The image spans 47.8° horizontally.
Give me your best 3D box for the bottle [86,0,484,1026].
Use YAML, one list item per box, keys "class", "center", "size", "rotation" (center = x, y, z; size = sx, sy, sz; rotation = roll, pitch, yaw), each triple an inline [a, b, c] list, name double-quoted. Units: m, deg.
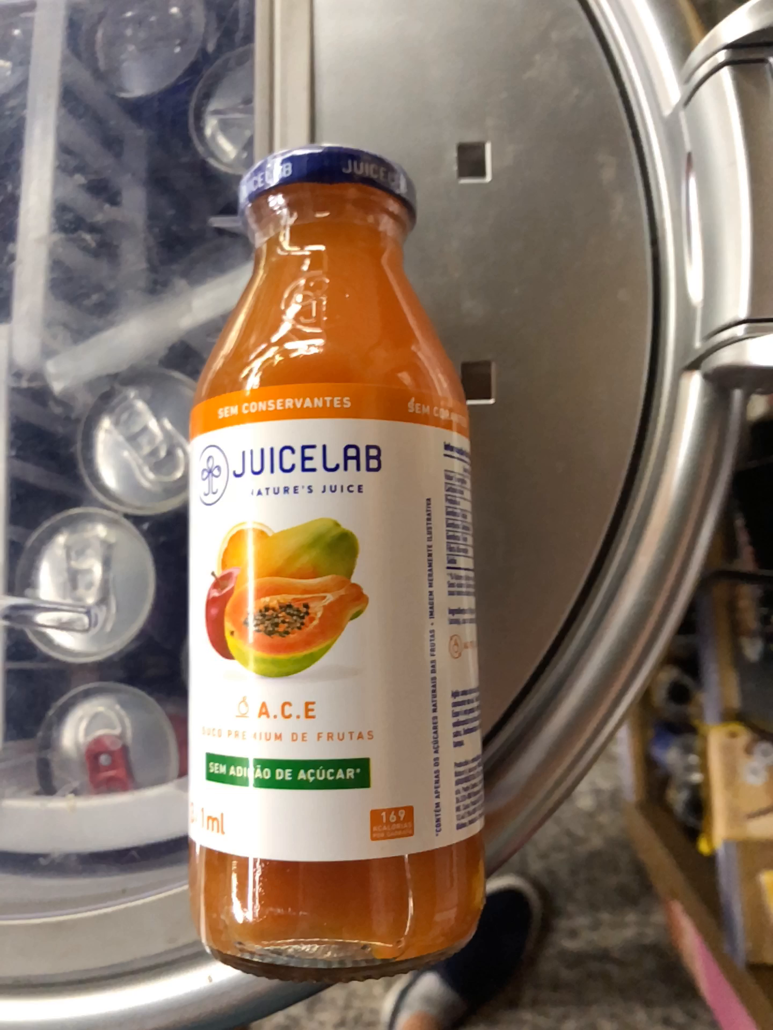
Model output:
- class: "bottle"
  center: [-0.018, -0.004, 0.189]
  size: [0.070, 0.050, 0.190]
  rotation: [-1, 85, 12]
